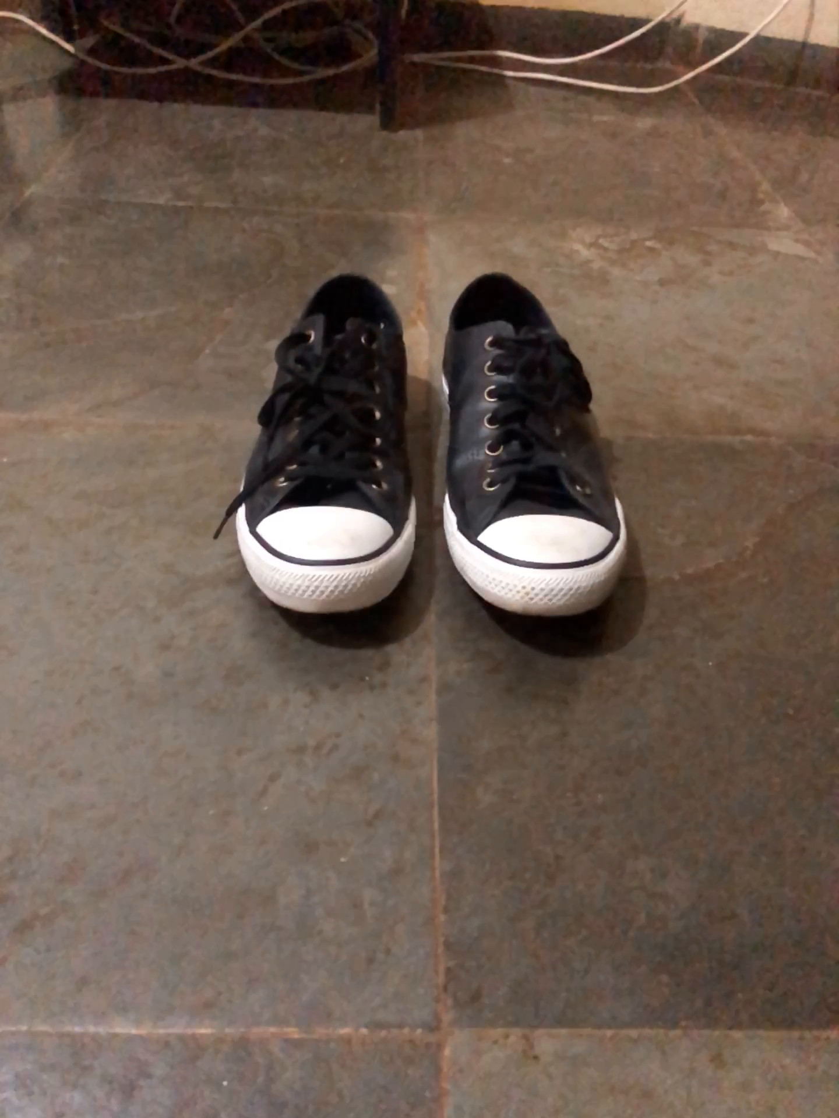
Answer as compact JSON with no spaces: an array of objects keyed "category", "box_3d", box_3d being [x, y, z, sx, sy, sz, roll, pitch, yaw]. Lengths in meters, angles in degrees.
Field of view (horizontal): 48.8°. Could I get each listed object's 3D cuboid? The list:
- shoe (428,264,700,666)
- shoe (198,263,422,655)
[{"category":"shoe","box_3d":[0.068,-0.077,0.567,0.110,0.079,0.312,1,40,-3]},{"category":"shoe","box_3d":[-0.055,-0.077,0.552,0.100,0.079,0.292,1,40,-3]}]
